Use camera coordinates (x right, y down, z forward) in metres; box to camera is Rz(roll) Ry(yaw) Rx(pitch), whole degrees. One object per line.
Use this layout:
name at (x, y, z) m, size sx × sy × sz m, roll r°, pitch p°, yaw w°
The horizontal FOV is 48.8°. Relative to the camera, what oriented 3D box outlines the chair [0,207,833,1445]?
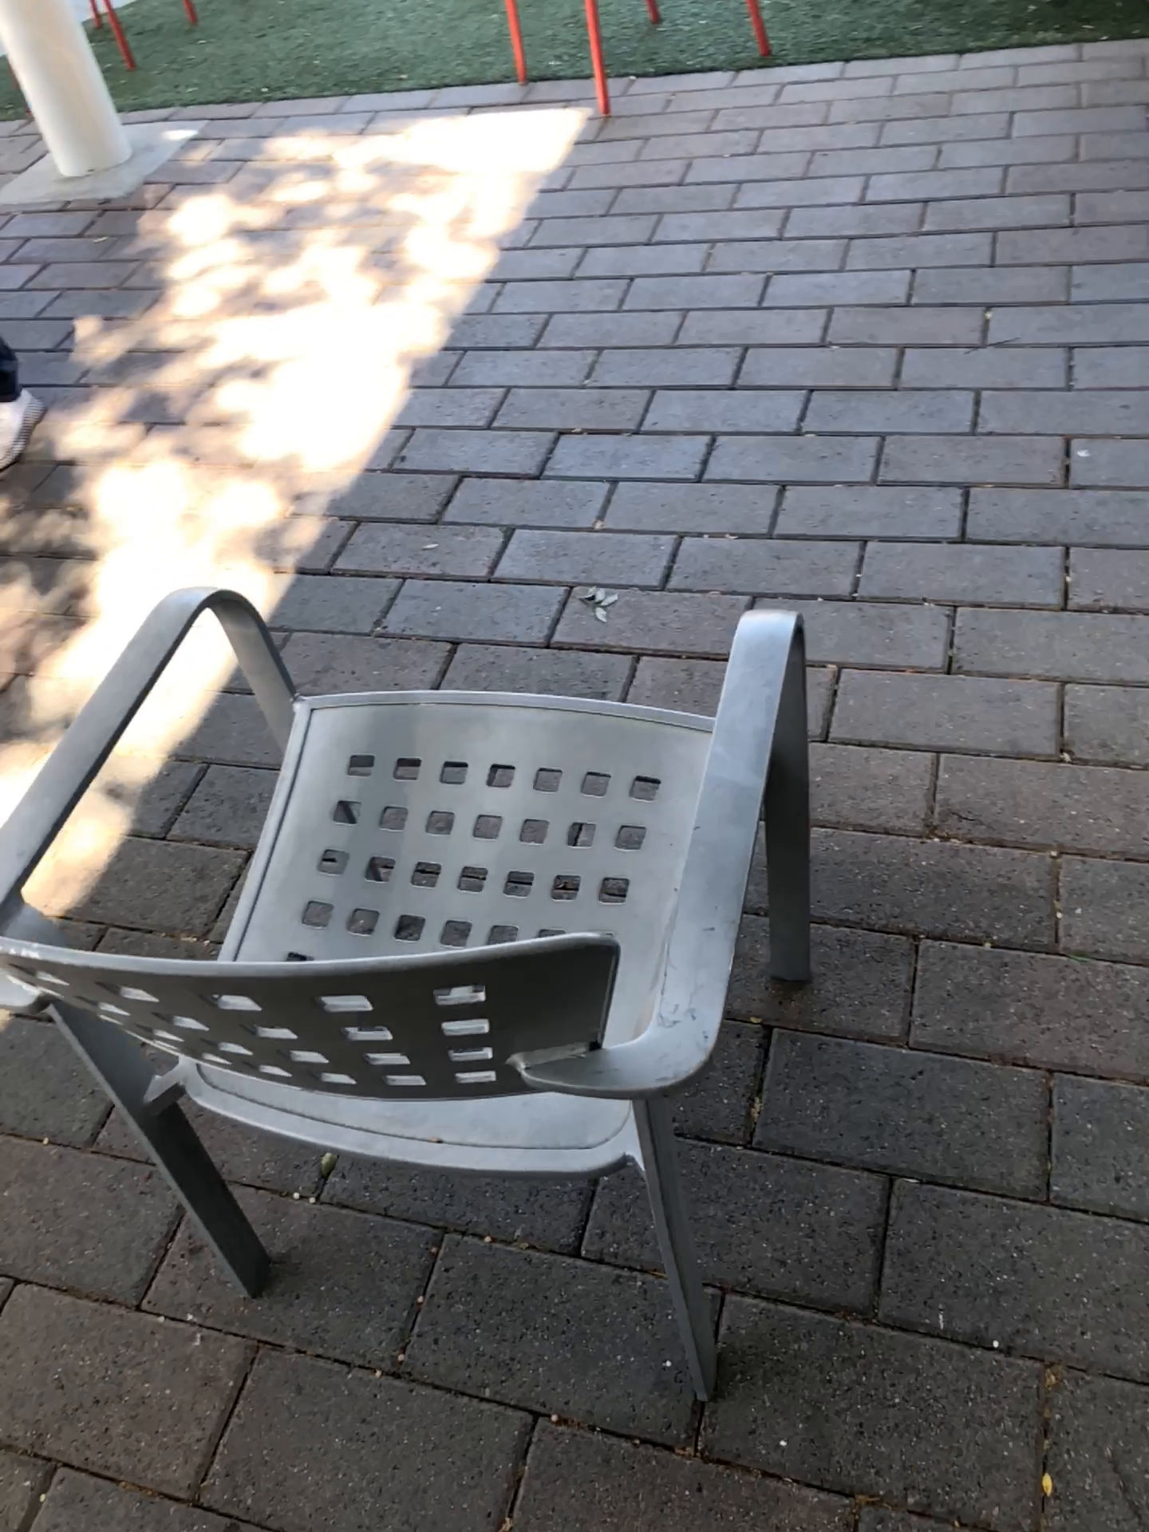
chair at (-0.145, 0.077, 1.055) m, size 0.631 × 0.776 × 0.592 m, roll 4°, pitch 50°, yaw 16°
